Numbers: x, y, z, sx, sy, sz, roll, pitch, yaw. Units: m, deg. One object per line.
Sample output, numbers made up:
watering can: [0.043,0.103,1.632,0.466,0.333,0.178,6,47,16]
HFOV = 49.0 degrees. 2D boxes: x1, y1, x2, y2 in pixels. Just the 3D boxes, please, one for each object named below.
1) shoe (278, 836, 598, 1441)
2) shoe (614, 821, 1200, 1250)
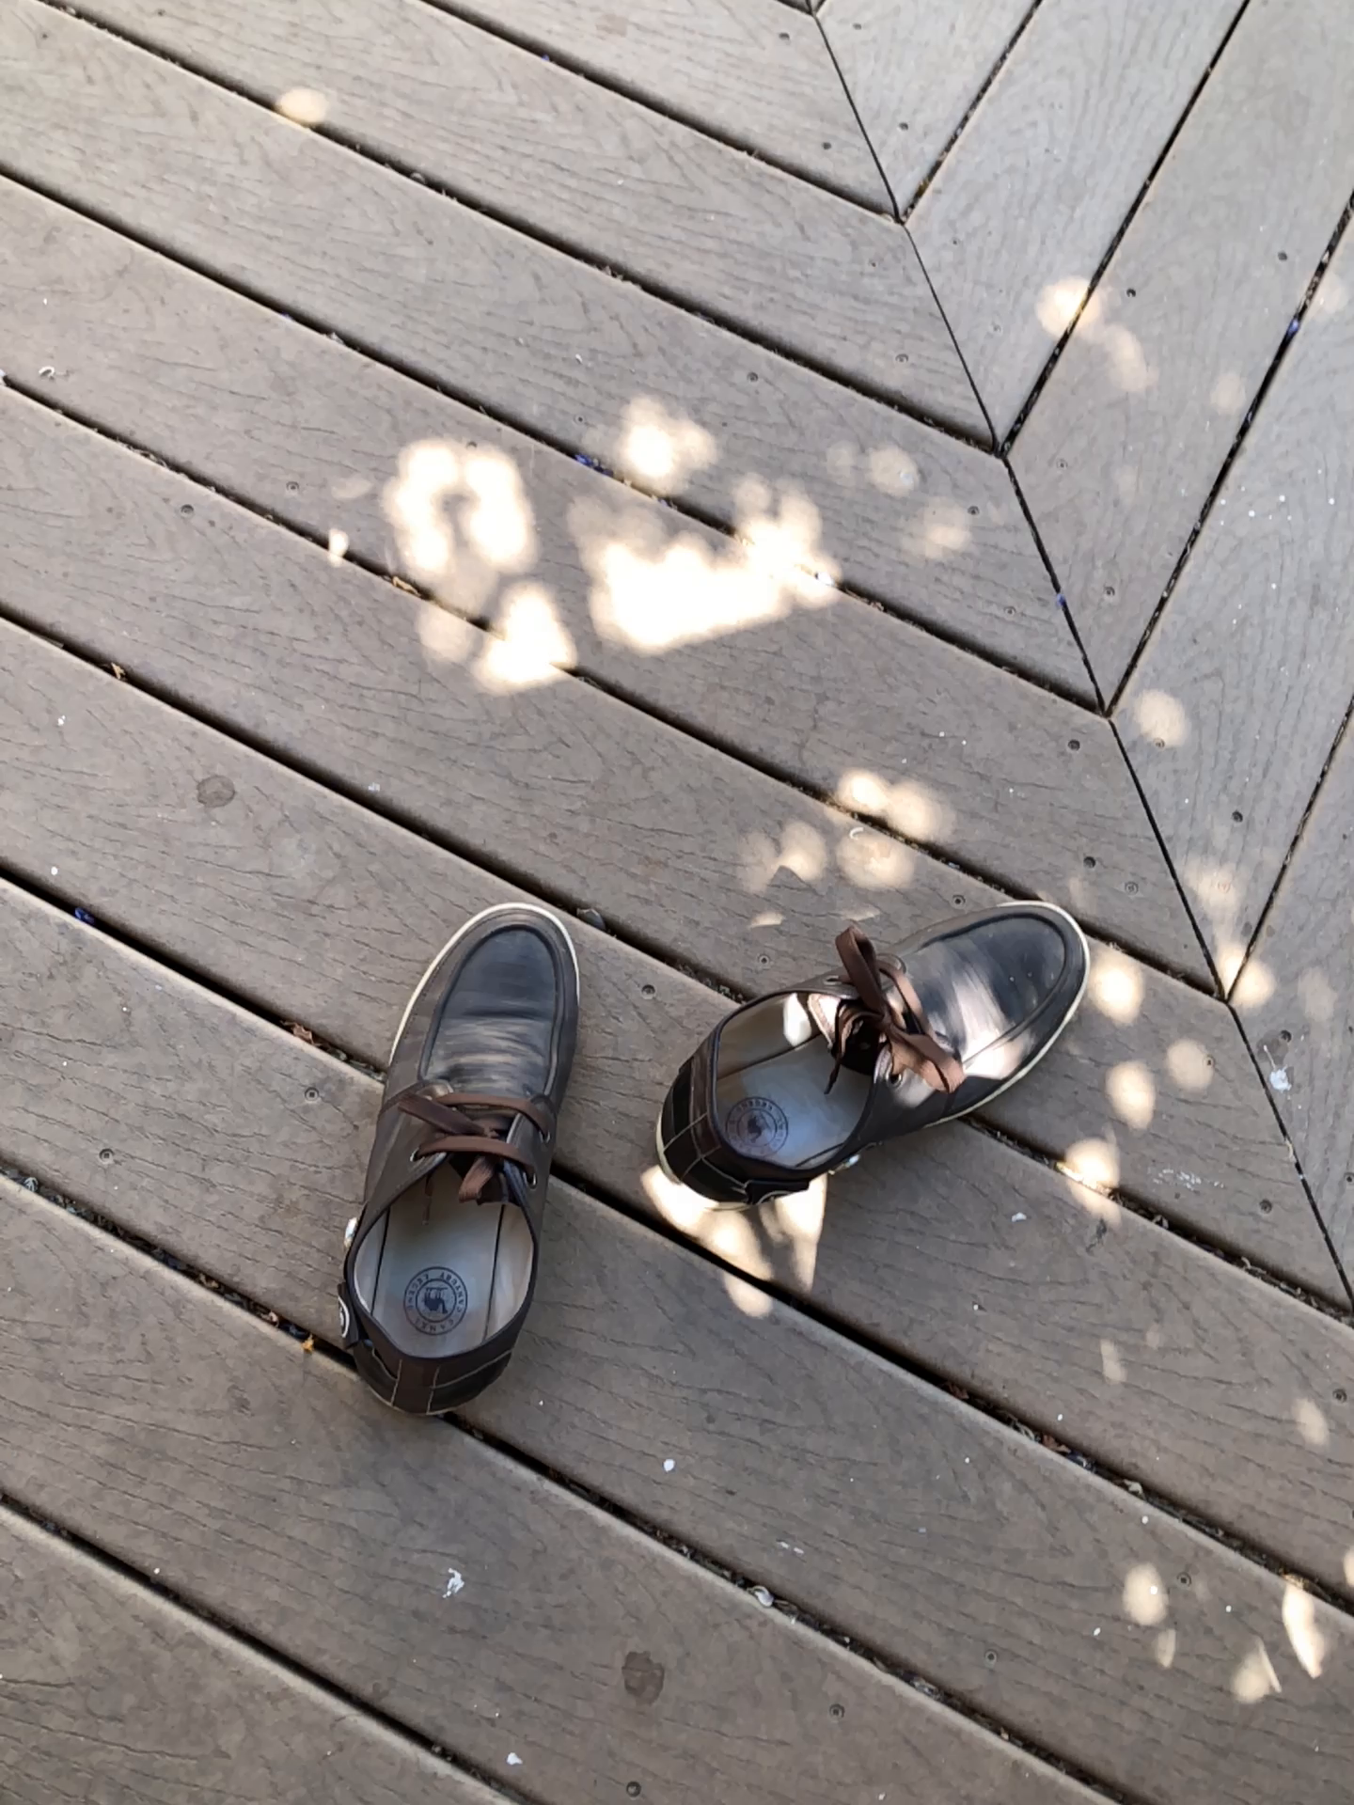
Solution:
shoe: [-0.123,0.131,0.828,0.110,0.116,0.302,9,71,-1]
shoe: [0.126,0.079,0.863,0.303,0.116,0.110,-24,75,-11]
